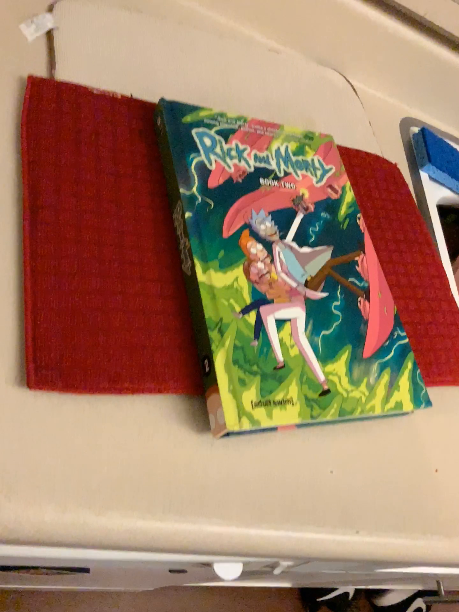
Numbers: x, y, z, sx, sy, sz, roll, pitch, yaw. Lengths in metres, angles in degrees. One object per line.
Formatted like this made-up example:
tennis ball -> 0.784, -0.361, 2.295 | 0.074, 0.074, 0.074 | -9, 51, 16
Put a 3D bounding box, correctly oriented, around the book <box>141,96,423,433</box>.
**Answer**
book -> 0.041, -0.048, 0.462 | 0.200, 0.030, 0.300 | 1, 62, -29
